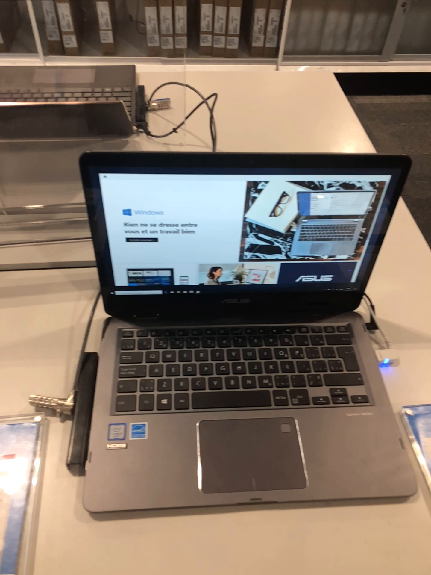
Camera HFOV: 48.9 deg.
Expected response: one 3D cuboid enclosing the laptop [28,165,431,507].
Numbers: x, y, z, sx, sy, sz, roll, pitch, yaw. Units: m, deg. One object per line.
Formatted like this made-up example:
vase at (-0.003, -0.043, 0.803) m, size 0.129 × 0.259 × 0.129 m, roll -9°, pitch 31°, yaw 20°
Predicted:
laptop at (0.033, 0.043, 0.432) m, size 0.302 × 0.217 × 0.225 m, roll -1°, pitch 48°, yaw -3°
